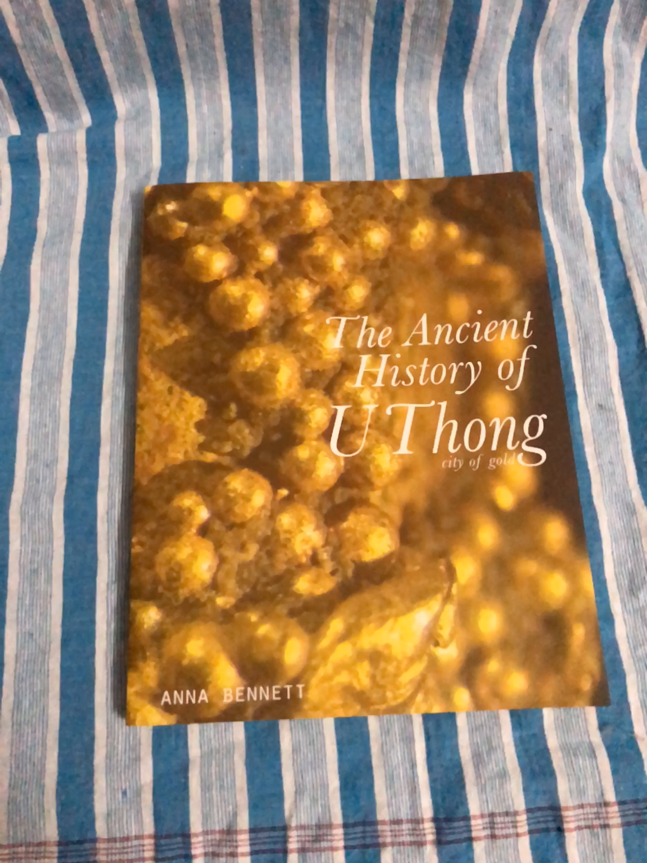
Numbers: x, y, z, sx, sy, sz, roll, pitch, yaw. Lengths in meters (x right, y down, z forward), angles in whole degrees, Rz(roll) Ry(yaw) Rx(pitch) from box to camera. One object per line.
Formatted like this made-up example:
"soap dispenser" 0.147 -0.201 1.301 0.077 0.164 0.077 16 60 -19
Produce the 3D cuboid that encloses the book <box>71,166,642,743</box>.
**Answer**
"book" 0.009 -0.002 0.324 0.220 0.030 0.250 -2 74 -3
